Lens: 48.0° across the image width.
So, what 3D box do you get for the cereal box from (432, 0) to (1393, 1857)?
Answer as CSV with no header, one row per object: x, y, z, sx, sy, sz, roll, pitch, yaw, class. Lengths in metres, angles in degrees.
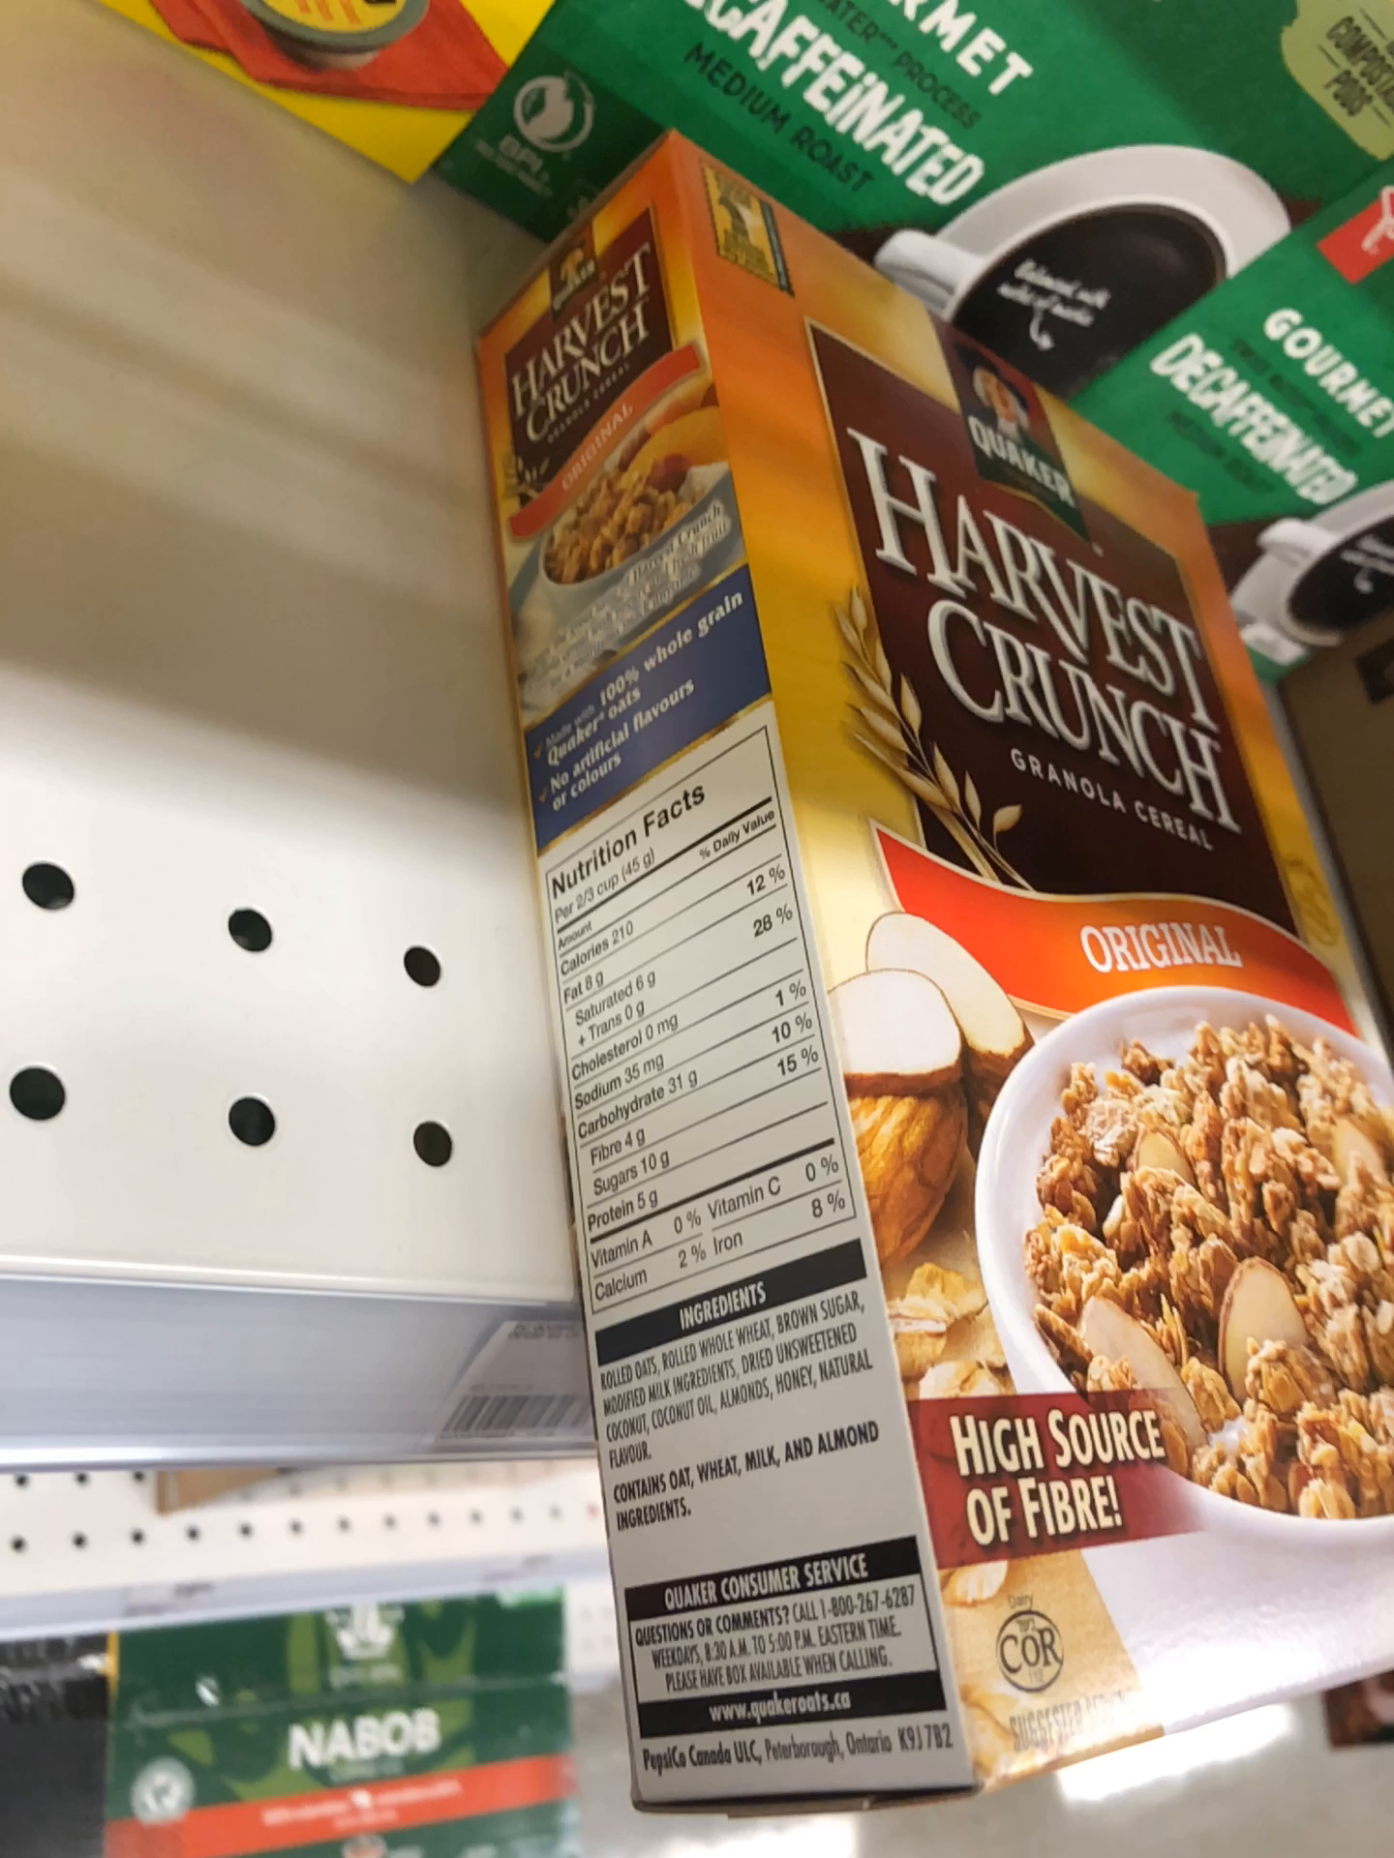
0.053,-0.018,0.265,0.171,0.050,0.280,13,57,-42,cereal box
